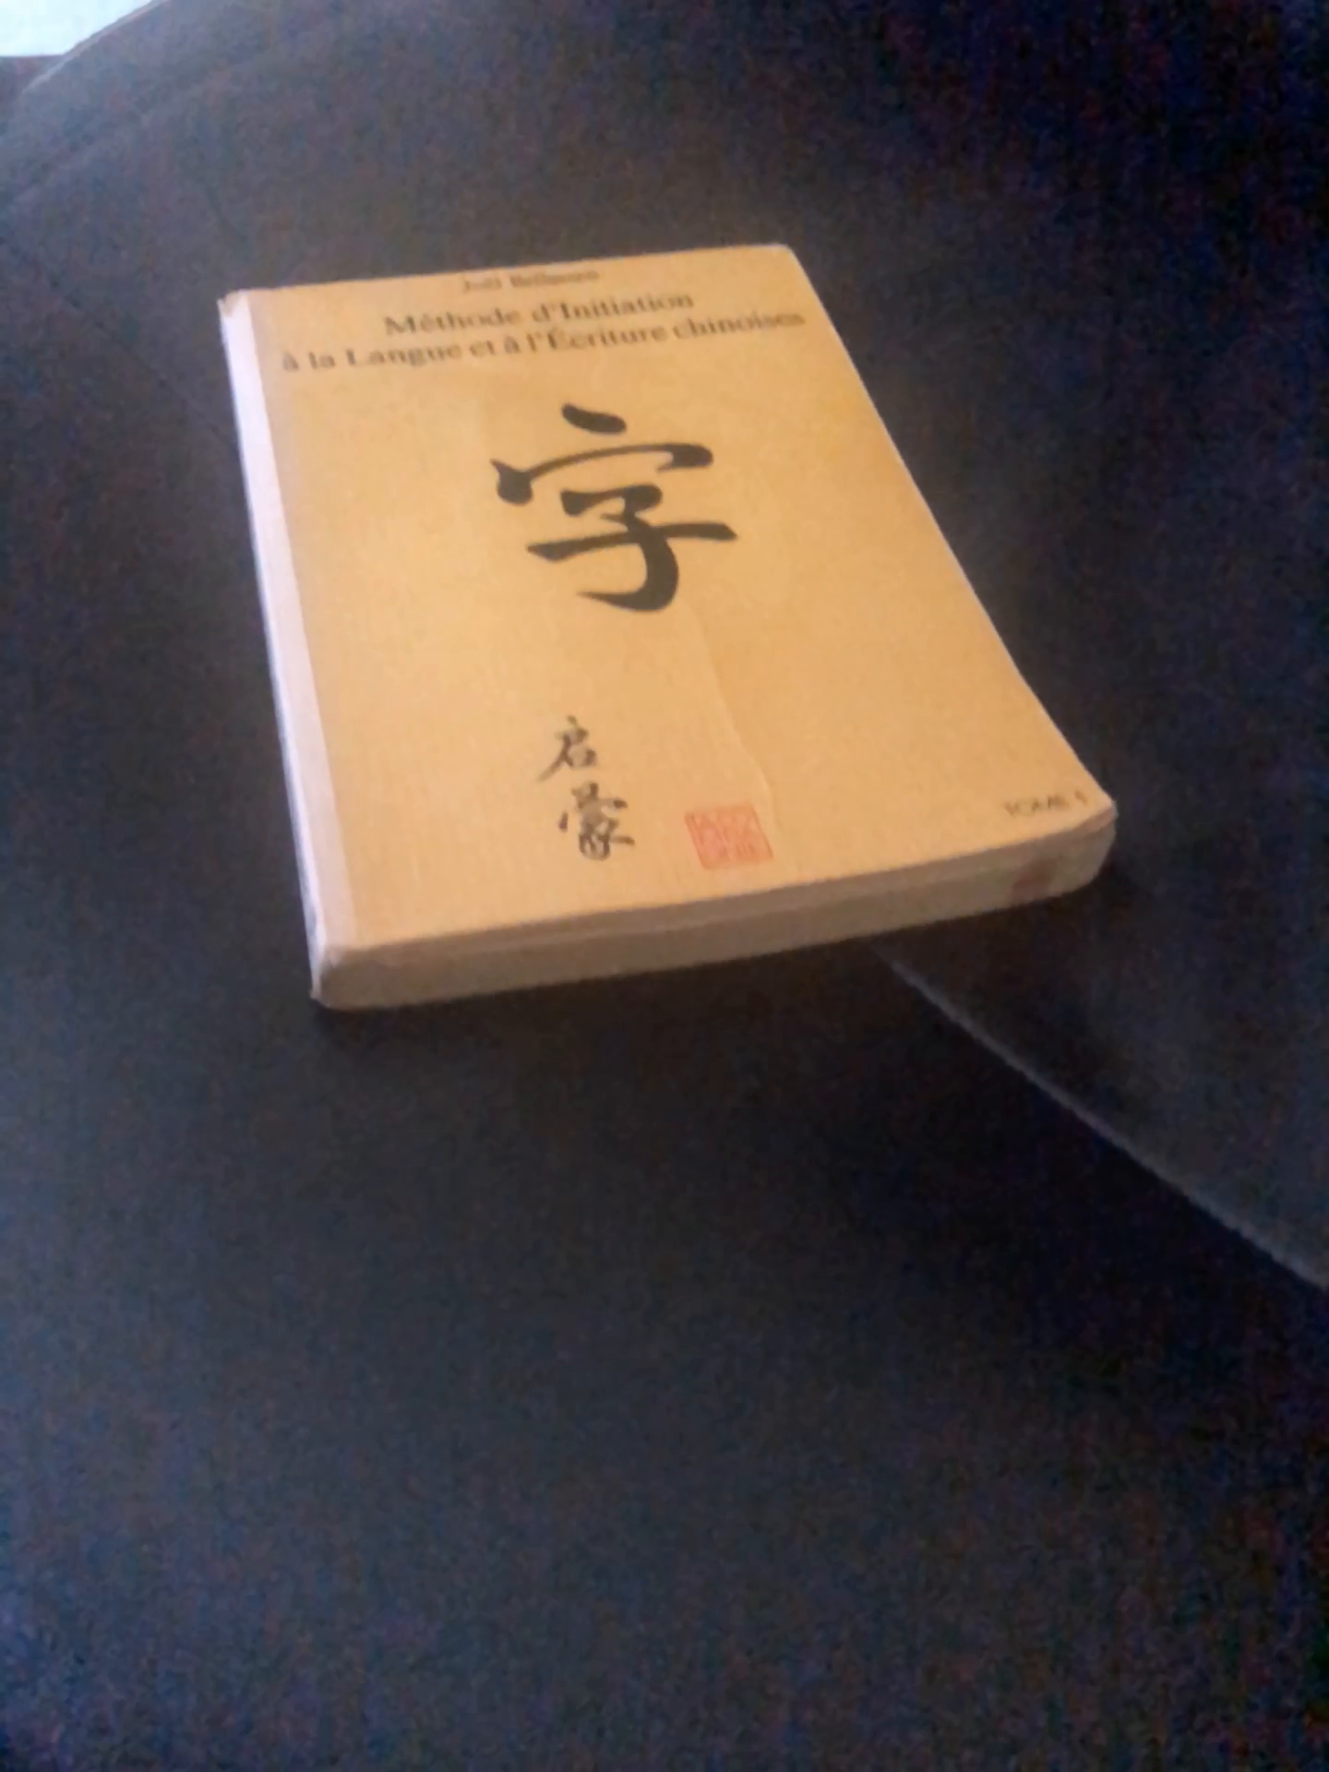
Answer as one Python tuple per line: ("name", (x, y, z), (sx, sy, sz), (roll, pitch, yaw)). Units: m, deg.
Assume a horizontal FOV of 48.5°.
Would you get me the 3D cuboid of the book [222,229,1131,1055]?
("book", (-0.015, -0.075, 0.336), (0.152, 0.028, 0.221), (-11, 51, -9))
